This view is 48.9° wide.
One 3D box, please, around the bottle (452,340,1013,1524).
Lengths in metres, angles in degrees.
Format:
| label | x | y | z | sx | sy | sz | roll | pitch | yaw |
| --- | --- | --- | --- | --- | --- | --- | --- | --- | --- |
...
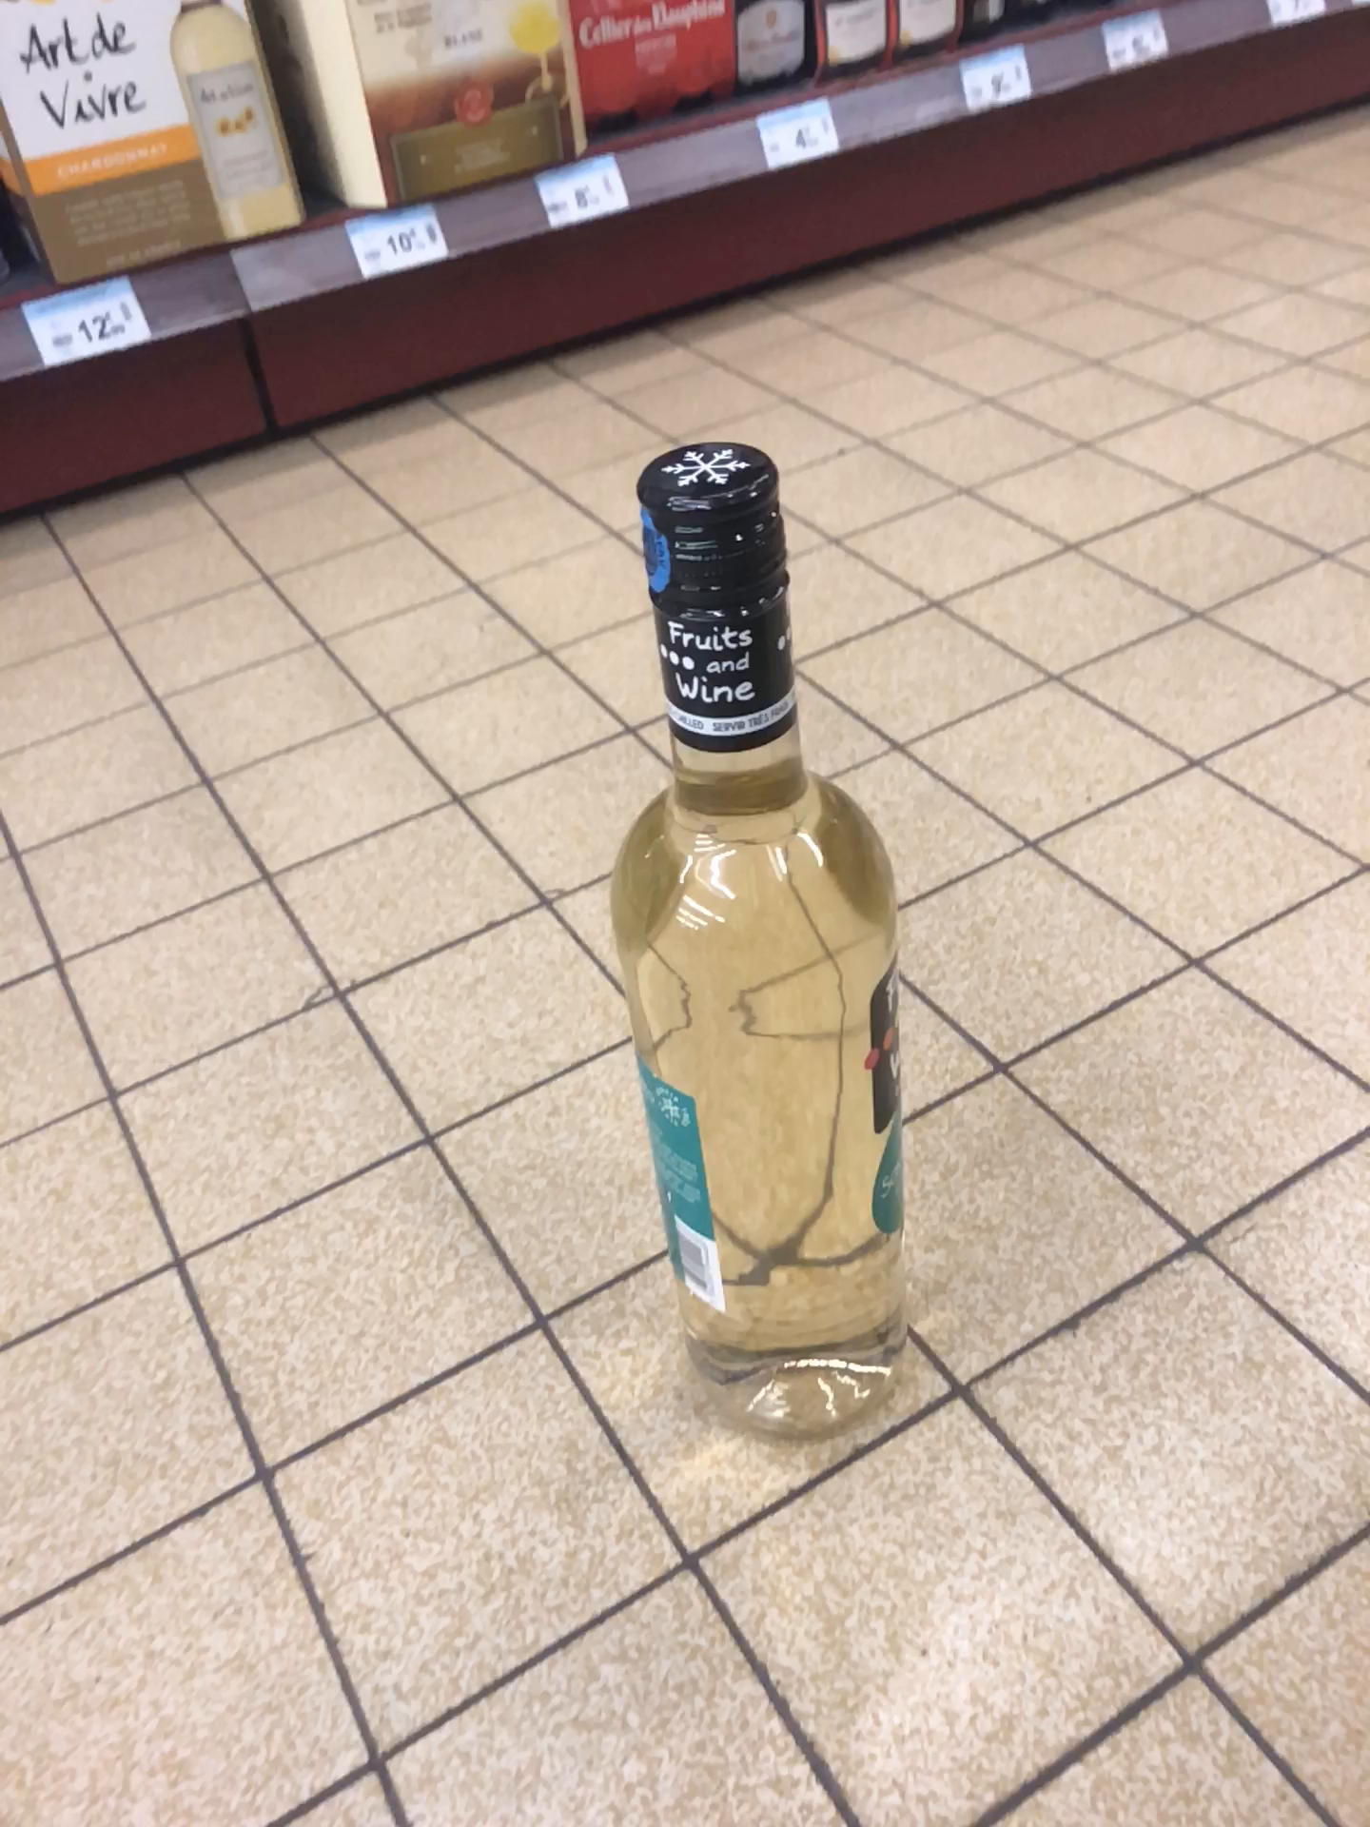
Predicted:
| label | x | y | z | sx | sy | sz | roll | pitch | yaw |
| --- | --- | --- | --- | --- | --- | --- | --- | --- | --- |
| bottle | 0.018 | 0.025 | 0.392 | 0.090 | 0.298 | 0.101 | -12 | 40 | -6 |
